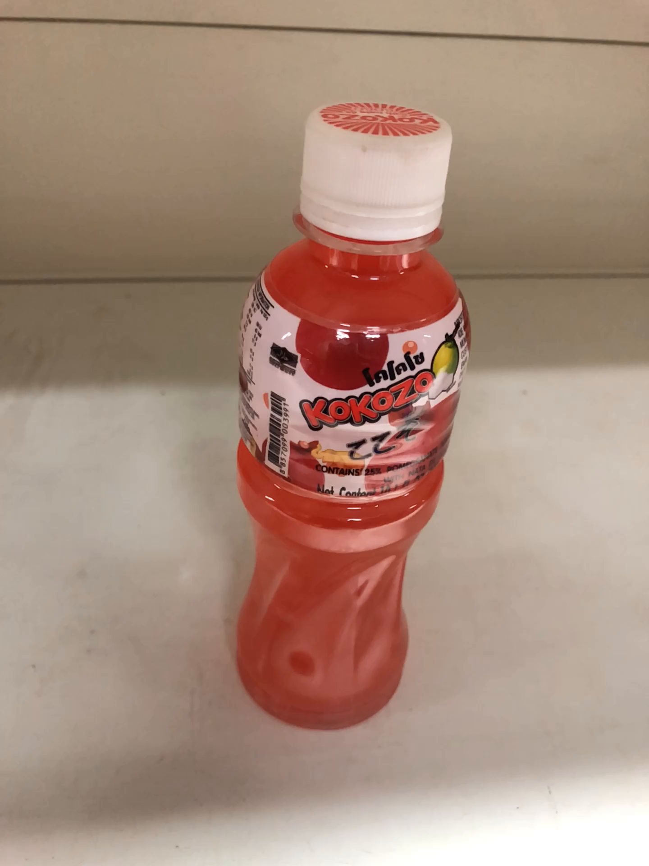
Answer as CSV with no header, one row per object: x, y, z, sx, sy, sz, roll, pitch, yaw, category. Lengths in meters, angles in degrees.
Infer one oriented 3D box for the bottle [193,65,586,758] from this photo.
0.004,0.004,0.186,0.060,0.169,0.050,-8,37,-16,bottle
